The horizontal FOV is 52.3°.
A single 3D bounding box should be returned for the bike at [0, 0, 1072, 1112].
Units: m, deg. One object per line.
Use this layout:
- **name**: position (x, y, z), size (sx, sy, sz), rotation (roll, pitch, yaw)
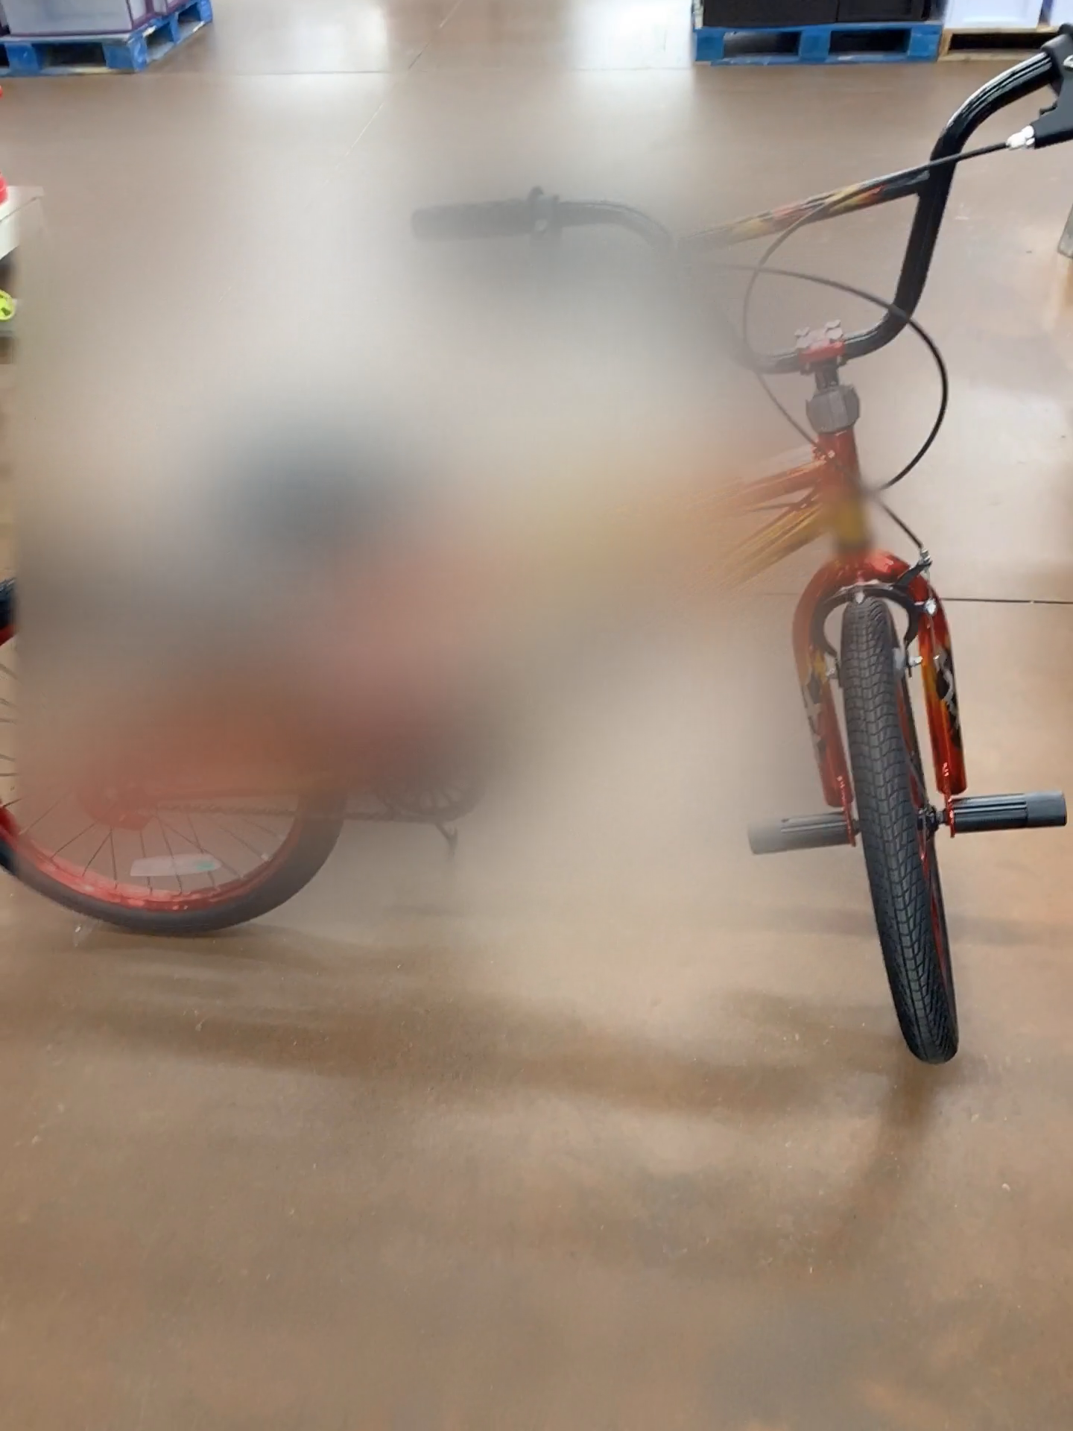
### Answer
- **bike**: position (-0.133, -0.238, 1.155), size (1.122, 0.925, 0.707), rotation (-5, 42, -2)
